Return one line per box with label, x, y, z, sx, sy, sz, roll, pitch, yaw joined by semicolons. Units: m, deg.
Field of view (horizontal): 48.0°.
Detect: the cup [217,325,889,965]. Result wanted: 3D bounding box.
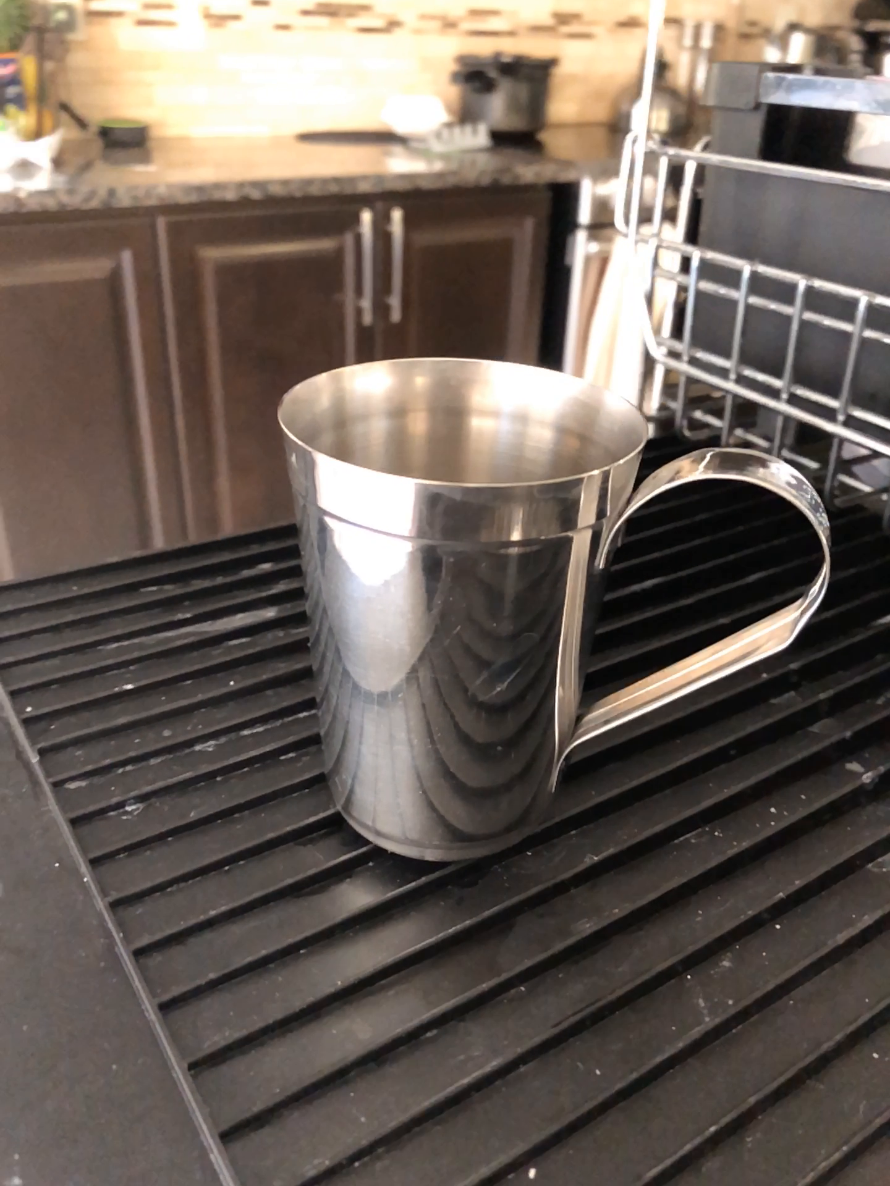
cup;0.022;0.006;0.208;0.110;0.097;0.065;9;30;11
